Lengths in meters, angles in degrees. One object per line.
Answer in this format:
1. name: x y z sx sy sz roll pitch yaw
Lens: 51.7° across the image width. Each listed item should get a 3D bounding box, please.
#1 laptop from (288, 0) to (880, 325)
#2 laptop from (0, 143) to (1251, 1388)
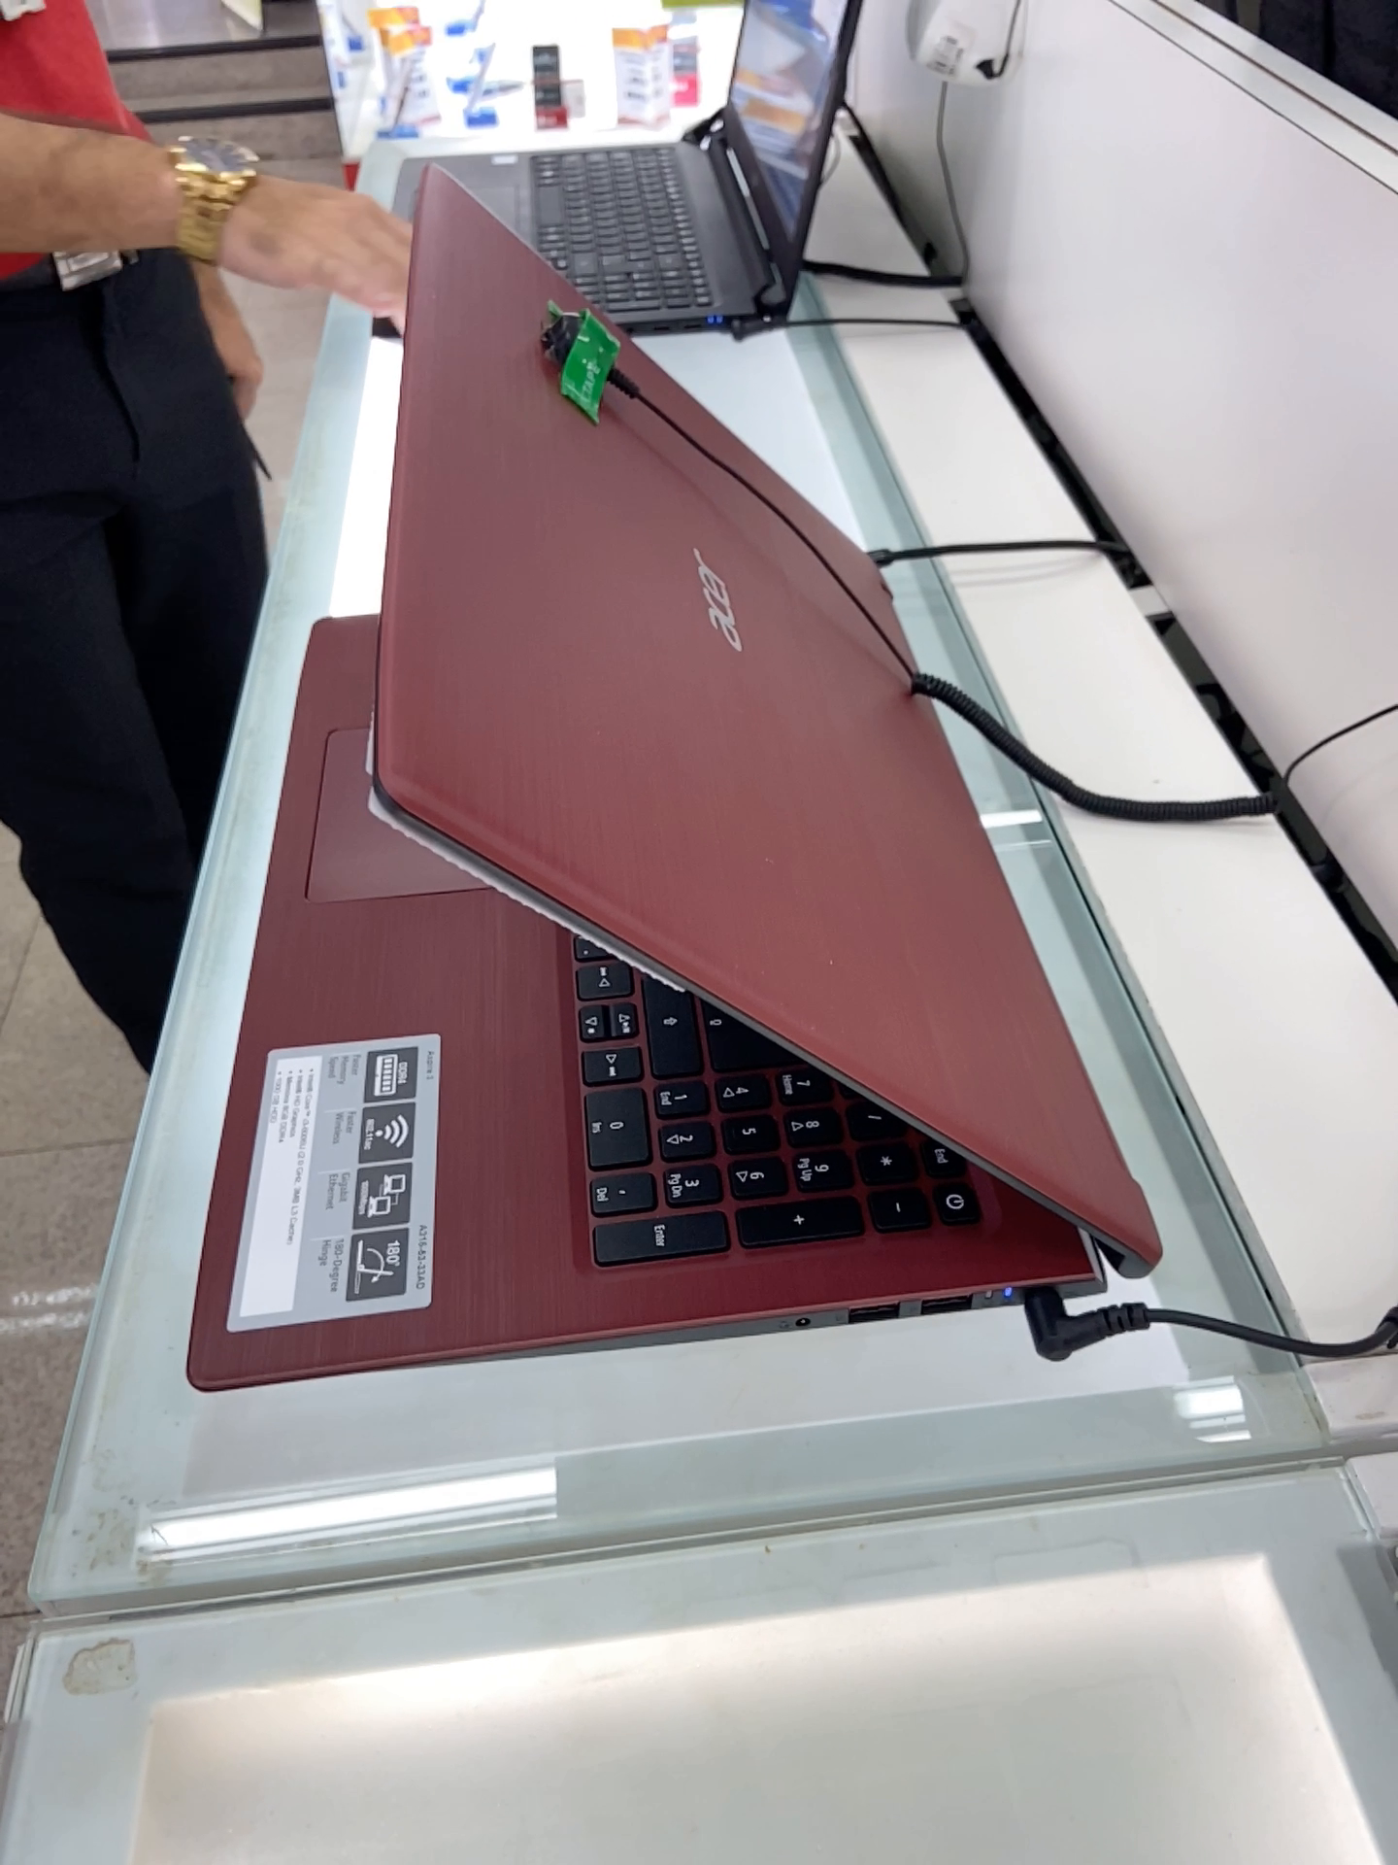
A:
1. laptop: -0.071 -0.587 0.935 0.304 0.230 0.330 -5 44 -2
2. laptop: -0.035 -0.087 0.448 0.238 0.179 0.369 -6 43 -3
